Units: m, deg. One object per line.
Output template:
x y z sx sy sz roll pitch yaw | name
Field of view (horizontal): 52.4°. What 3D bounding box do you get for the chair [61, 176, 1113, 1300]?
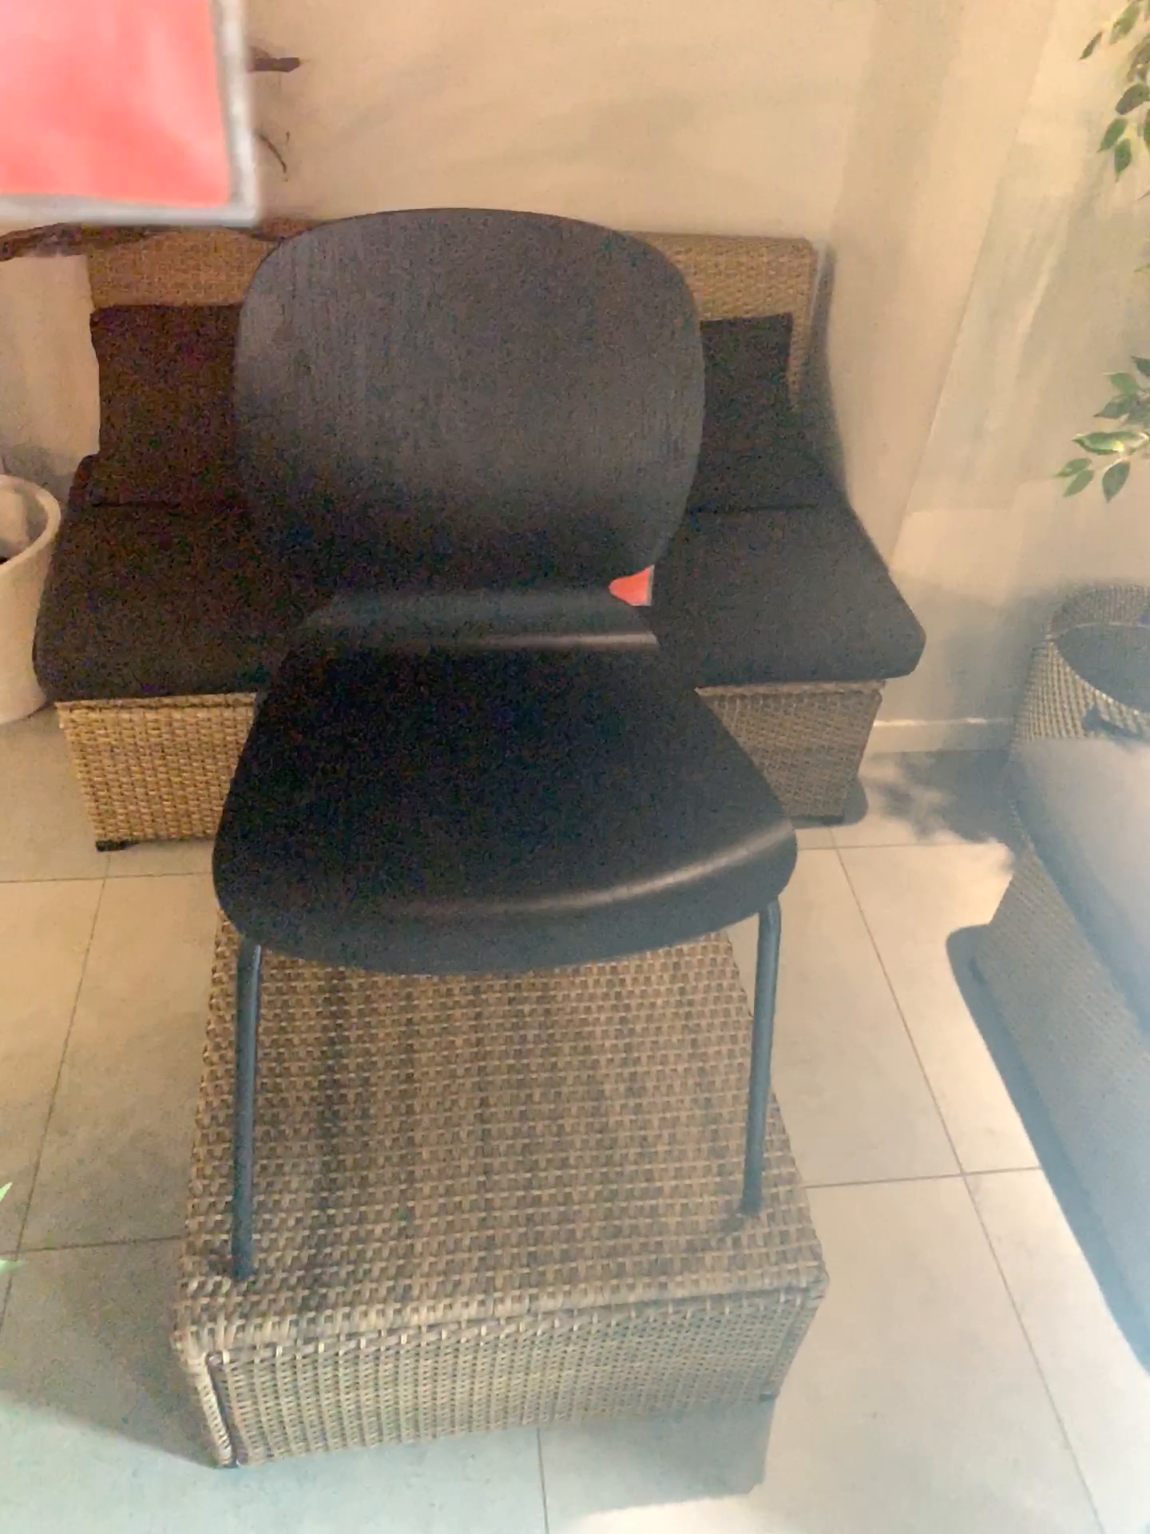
-0.053 -0.014 1.035 0.530 0.767 0.562 -3 42 -11 | chair
